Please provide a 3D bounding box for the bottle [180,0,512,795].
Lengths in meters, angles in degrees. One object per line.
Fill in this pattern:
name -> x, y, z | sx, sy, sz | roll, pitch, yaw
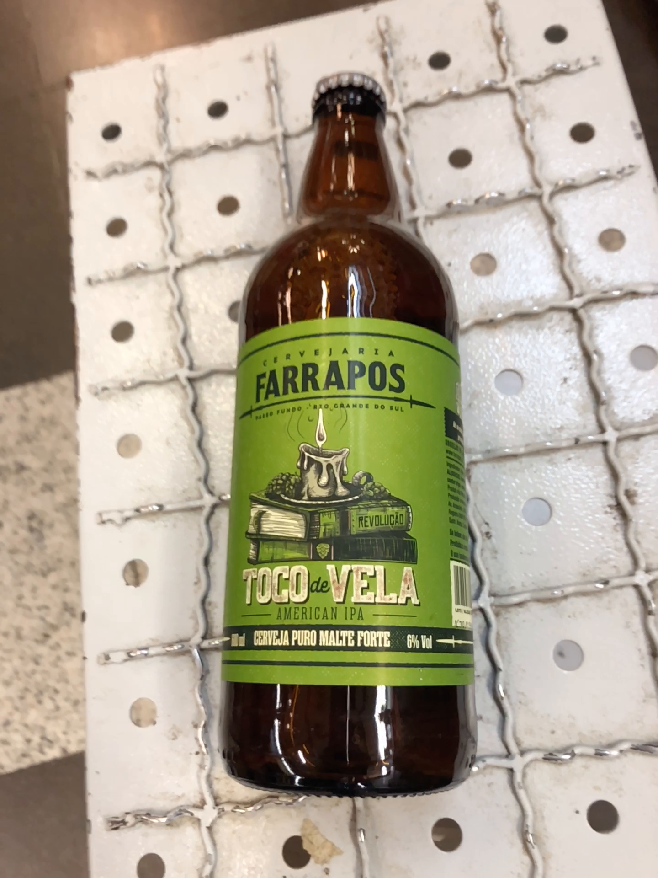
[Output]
bottle -> 0.007, -0.032, 0.246 | 0.080, 0.070, 0.260 | -1, 75, 4
